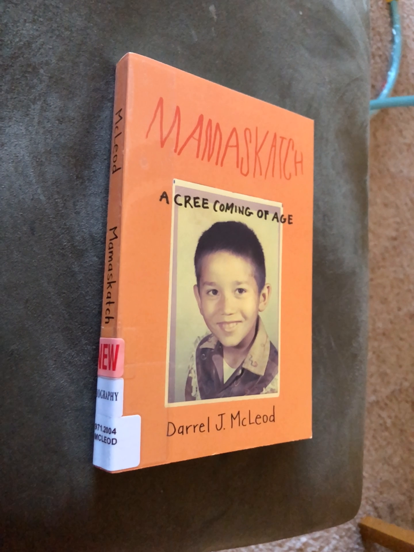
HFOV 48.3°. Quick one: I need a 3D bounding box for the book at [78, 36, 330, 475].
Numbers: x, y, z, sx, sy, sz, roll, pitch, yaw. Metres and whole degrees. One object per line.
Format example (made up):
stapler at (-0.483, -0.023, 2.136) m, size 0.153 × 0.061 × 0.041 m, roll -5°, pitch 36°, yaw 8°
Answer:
book at (0.007, -0.007, 0.286) m, size 0.151 × 0.040 × 0.218 m, roll 5°, pitch 85°, yaw -33°
